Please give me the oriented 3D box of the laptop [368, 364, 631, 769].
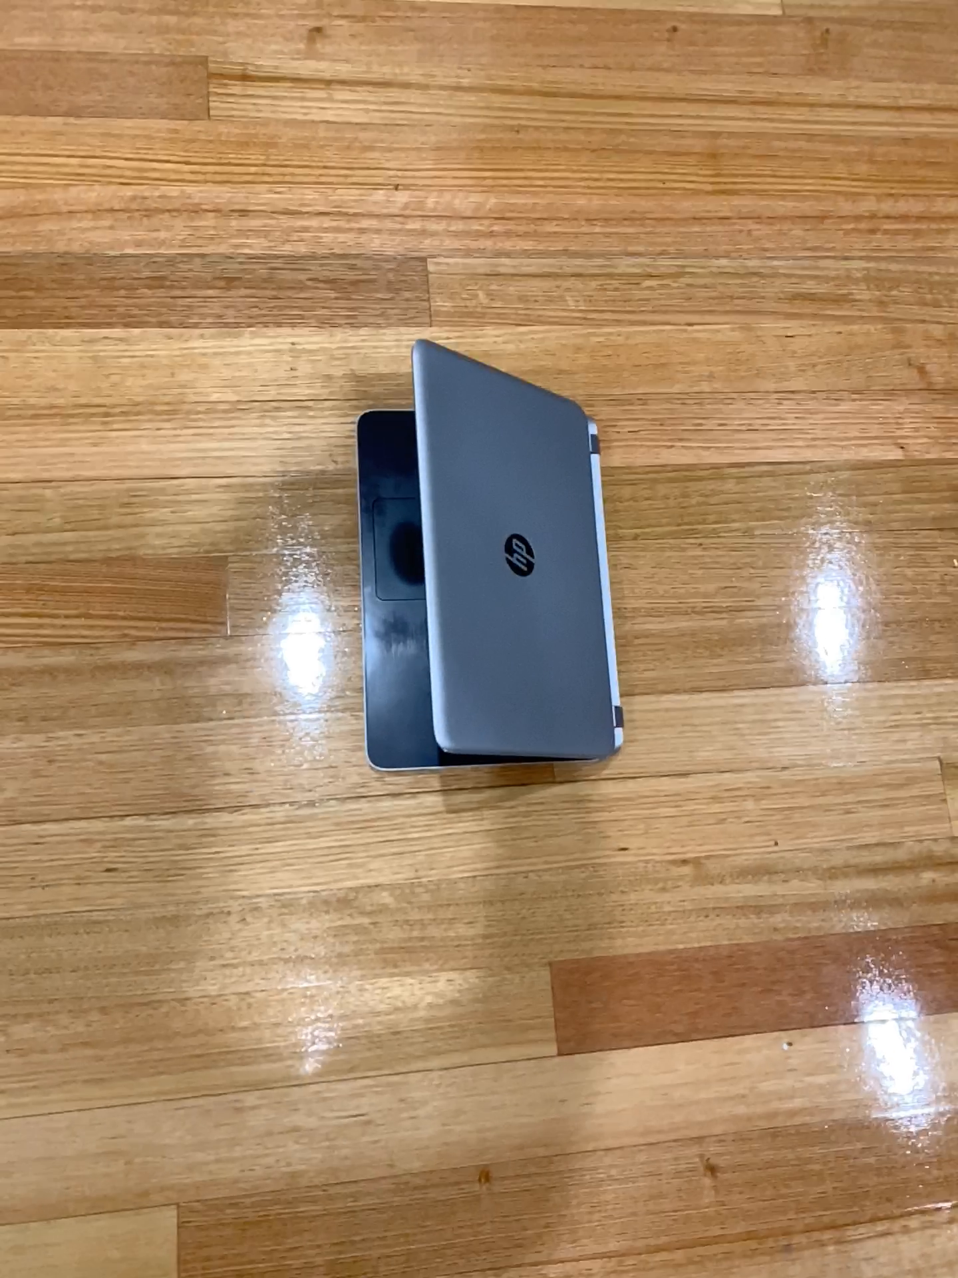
[{"bbox_3d":[0.009,-0.065,0.861,0.209,0.103,0.332,-1,77,-8],"label":"laptop"}]
